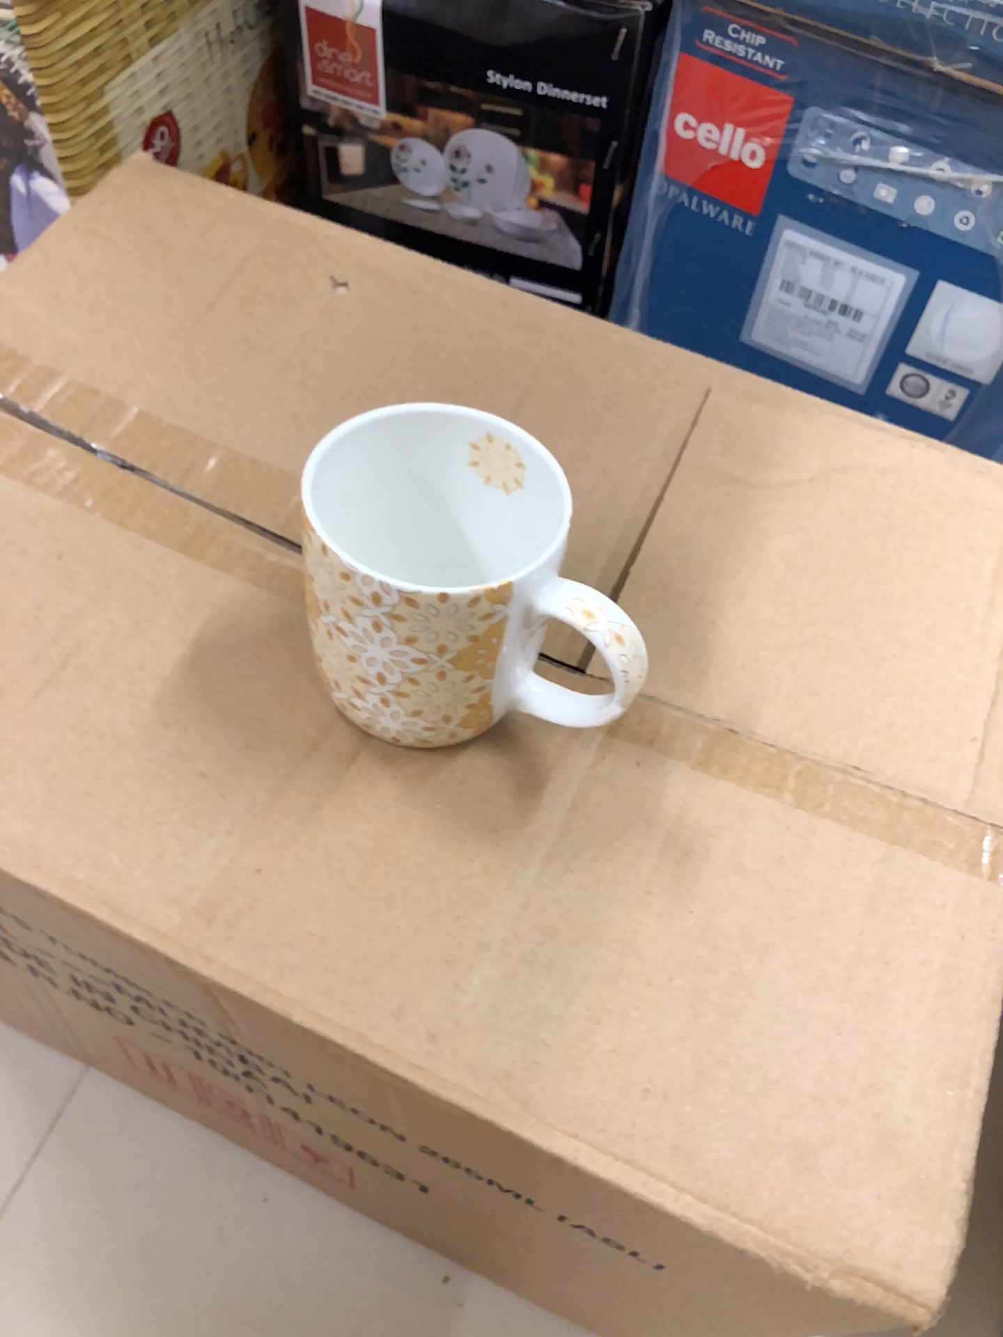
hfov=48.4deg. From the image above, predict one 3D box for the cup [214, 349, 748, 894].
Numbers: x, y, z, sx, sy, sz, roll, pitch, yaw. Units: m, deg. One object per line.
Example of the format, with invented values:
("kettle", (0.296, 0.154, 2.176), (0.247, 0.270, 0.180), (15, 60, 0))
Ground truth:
("cup", (-0.009, -0.014, 0.336), (0.120, 0.089, 0.080), (31, 56, 15))
